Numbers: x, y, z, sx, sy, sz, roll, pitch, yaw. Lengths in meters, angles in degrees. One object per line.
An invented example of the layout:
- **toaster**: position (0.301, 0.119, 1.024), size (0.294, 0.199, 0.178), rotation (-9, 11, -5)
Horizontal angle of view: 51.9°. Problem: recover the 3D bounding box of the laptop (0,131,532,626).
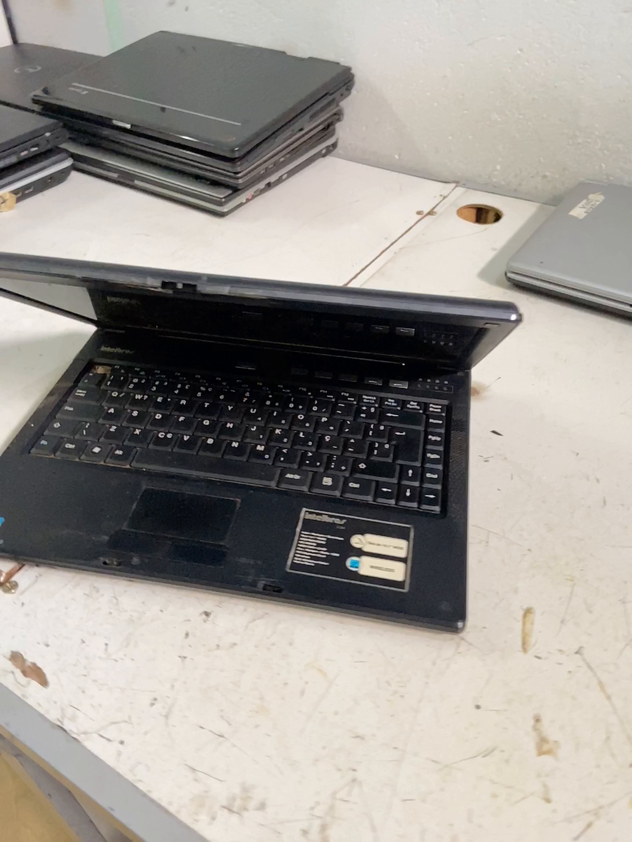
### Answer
- **laptop**: position (-0.053, -0.046, 0.414), size (0.324, 0.168, 0.237), rotation (7, 43, 8)
